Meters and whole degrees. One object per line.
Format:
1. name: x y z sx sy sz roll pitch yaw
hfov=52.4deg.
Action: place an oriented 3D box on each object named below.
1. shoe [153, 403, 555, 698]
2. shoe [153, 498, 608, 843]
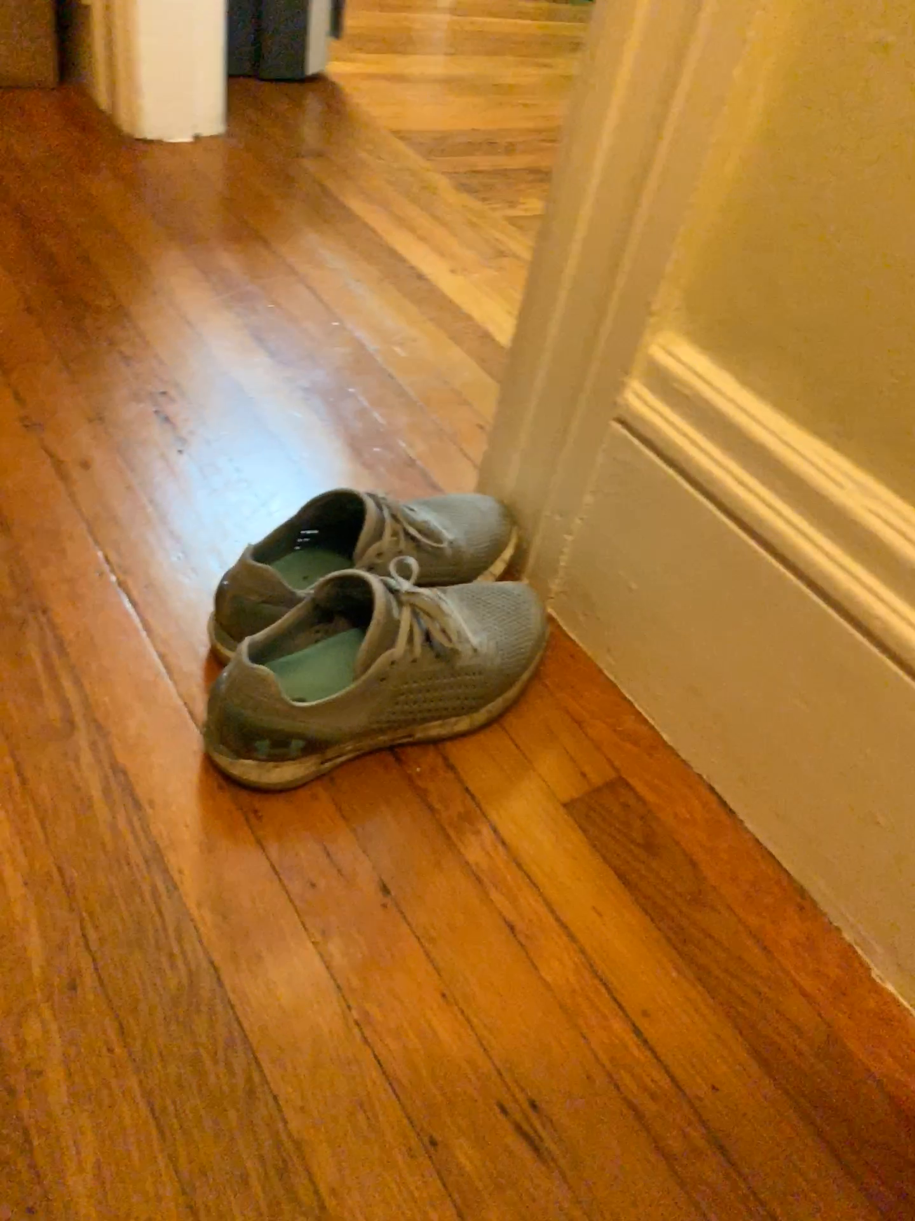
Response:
1. shoe: -0.067 -0.054 0.661 0.261 0.080 0.110 -27 57 -35
2. shoe: -0.046 0.027 0.612 0.271 0.090 0.110 -22 54 -32
